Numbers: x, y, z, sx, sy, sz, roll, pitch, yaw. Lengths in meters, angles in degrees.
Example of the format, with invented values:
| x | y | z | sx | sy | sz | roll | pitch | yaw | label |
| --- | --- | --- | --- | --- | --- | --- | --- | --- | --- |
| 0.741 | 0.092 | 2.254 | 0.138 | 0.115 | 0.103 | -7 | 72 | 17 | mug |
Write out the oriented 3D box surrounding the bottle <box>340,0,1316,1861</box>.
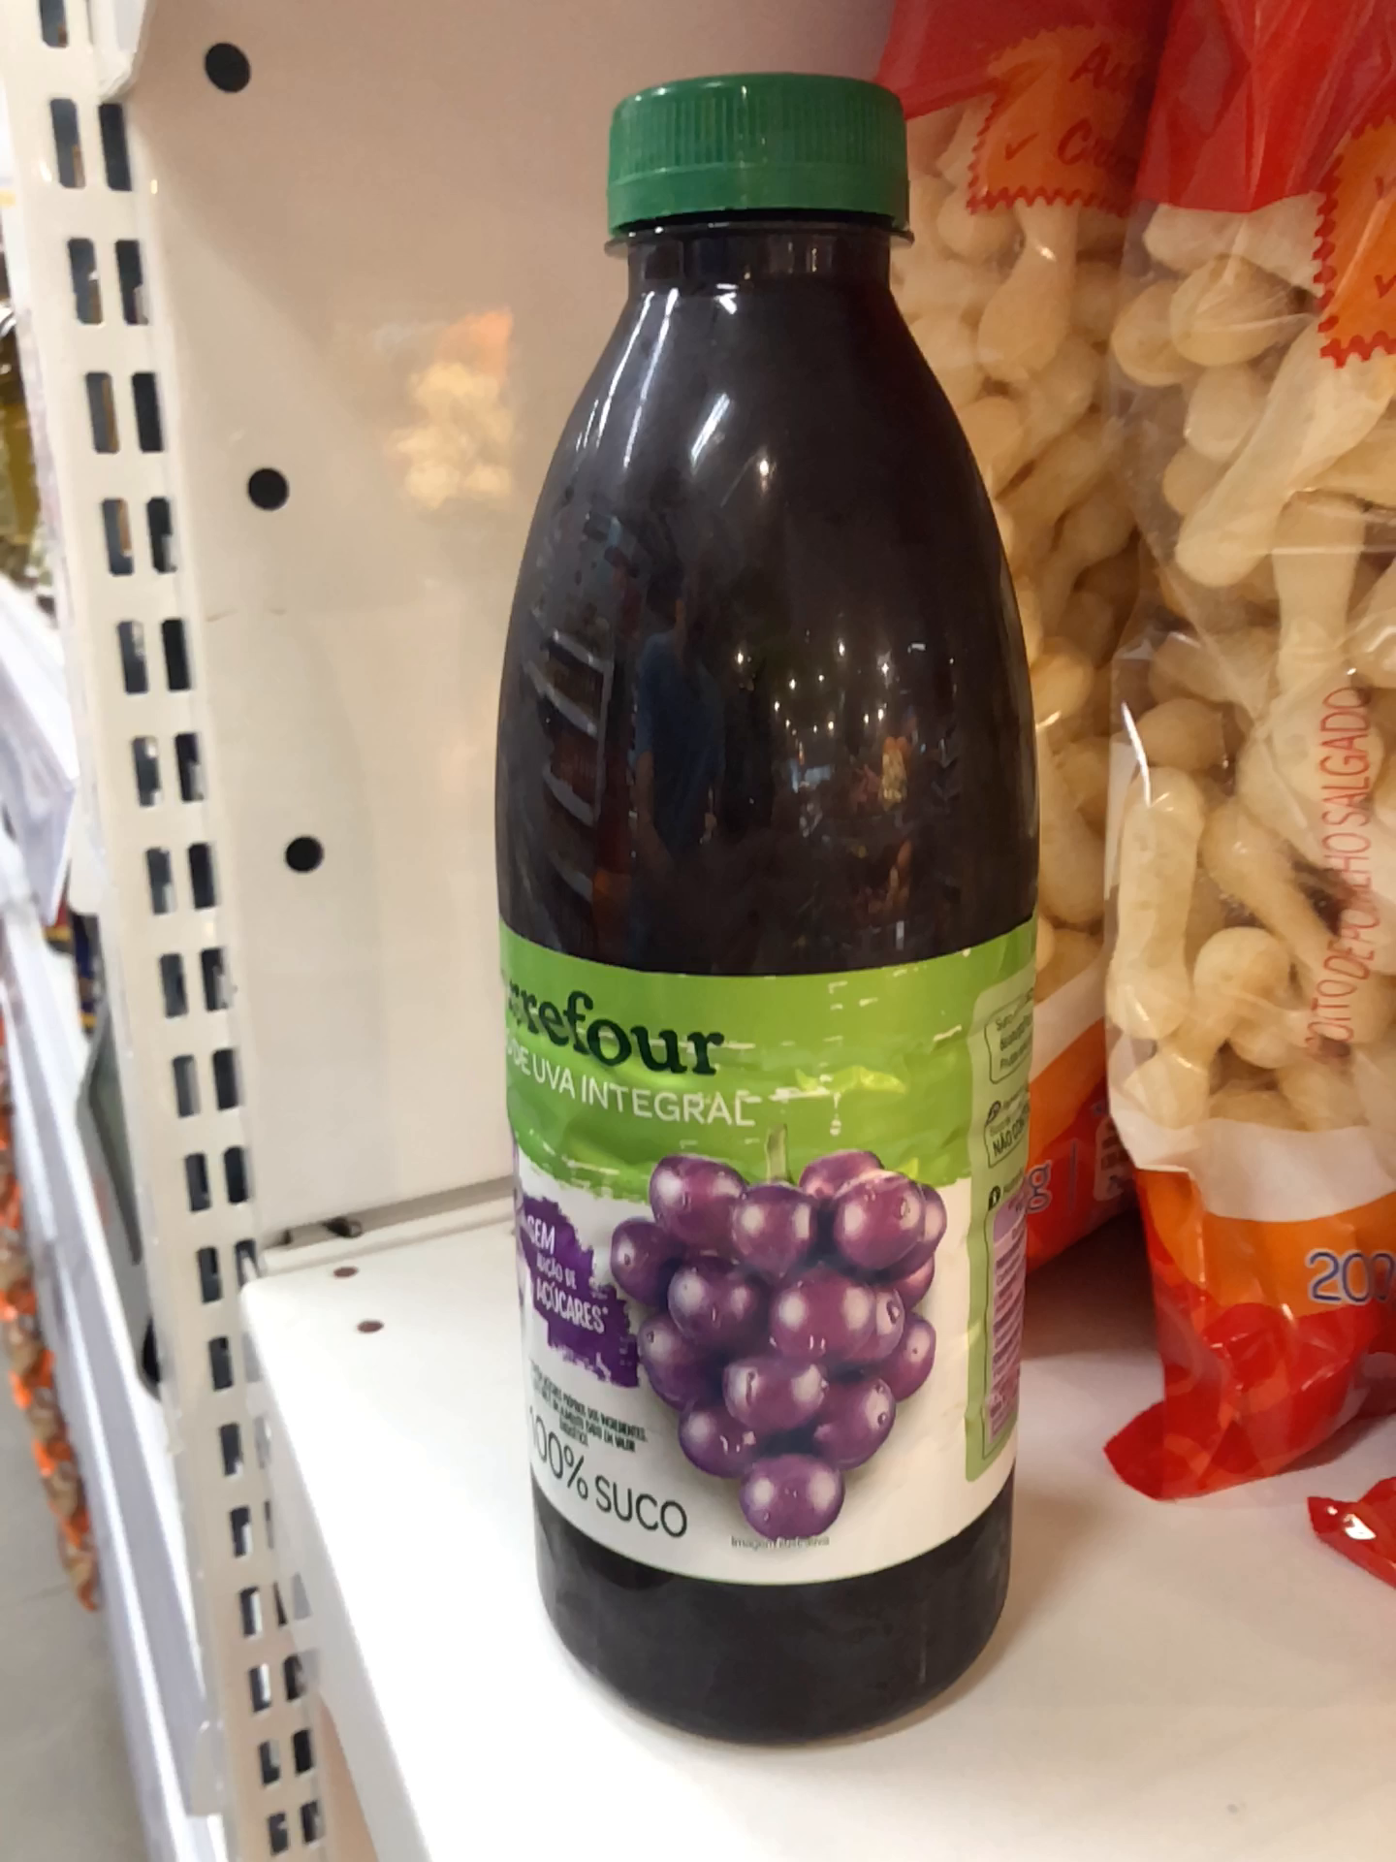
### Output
| x | y | z | sx | sy | sz | roll | pitch | yaw | label |
| --- | --- | --- | --- | --- | --- | --- | --- | --- | --- |
| 0.016 | 0.004 | 0.228 | 0.080 | 0.229 | 0.090 | -17 | 24 | -40 | bottle |
